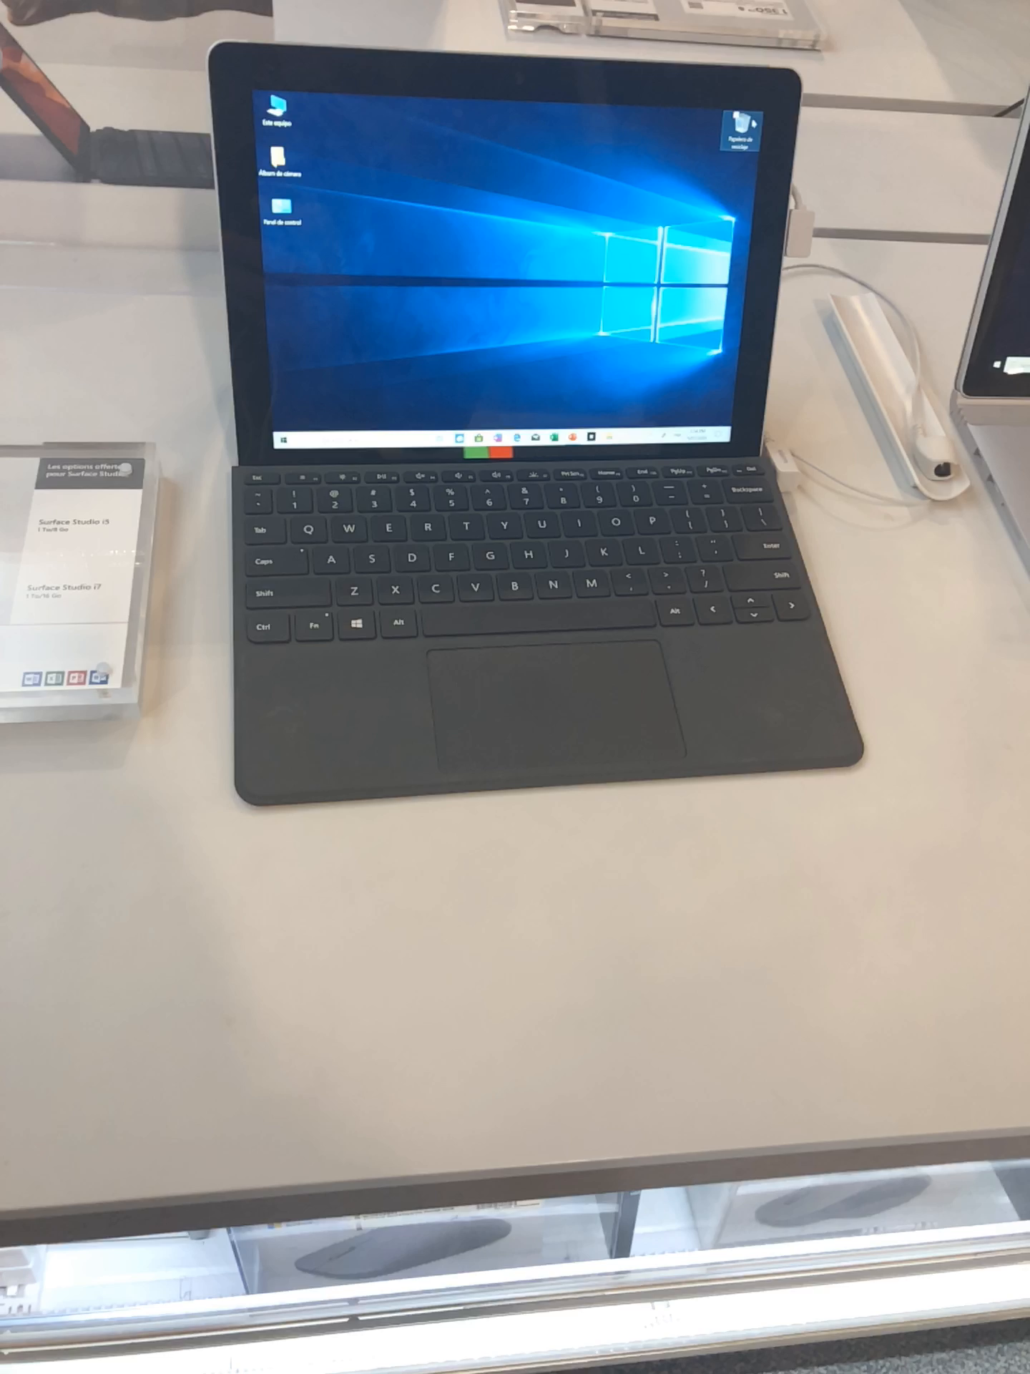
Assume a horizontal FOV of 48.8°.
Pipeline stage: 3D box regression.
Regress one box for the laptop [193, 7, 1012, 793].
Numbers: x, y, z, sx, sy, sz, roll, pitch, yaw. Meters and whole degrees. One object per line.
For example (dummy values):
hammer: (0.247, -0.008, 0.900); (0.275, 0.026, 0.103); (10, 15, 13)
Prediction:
laptop: (0.007, -0.114, 0.442); (0.236, 0.140, 0.251); (-3, 57, -12)
